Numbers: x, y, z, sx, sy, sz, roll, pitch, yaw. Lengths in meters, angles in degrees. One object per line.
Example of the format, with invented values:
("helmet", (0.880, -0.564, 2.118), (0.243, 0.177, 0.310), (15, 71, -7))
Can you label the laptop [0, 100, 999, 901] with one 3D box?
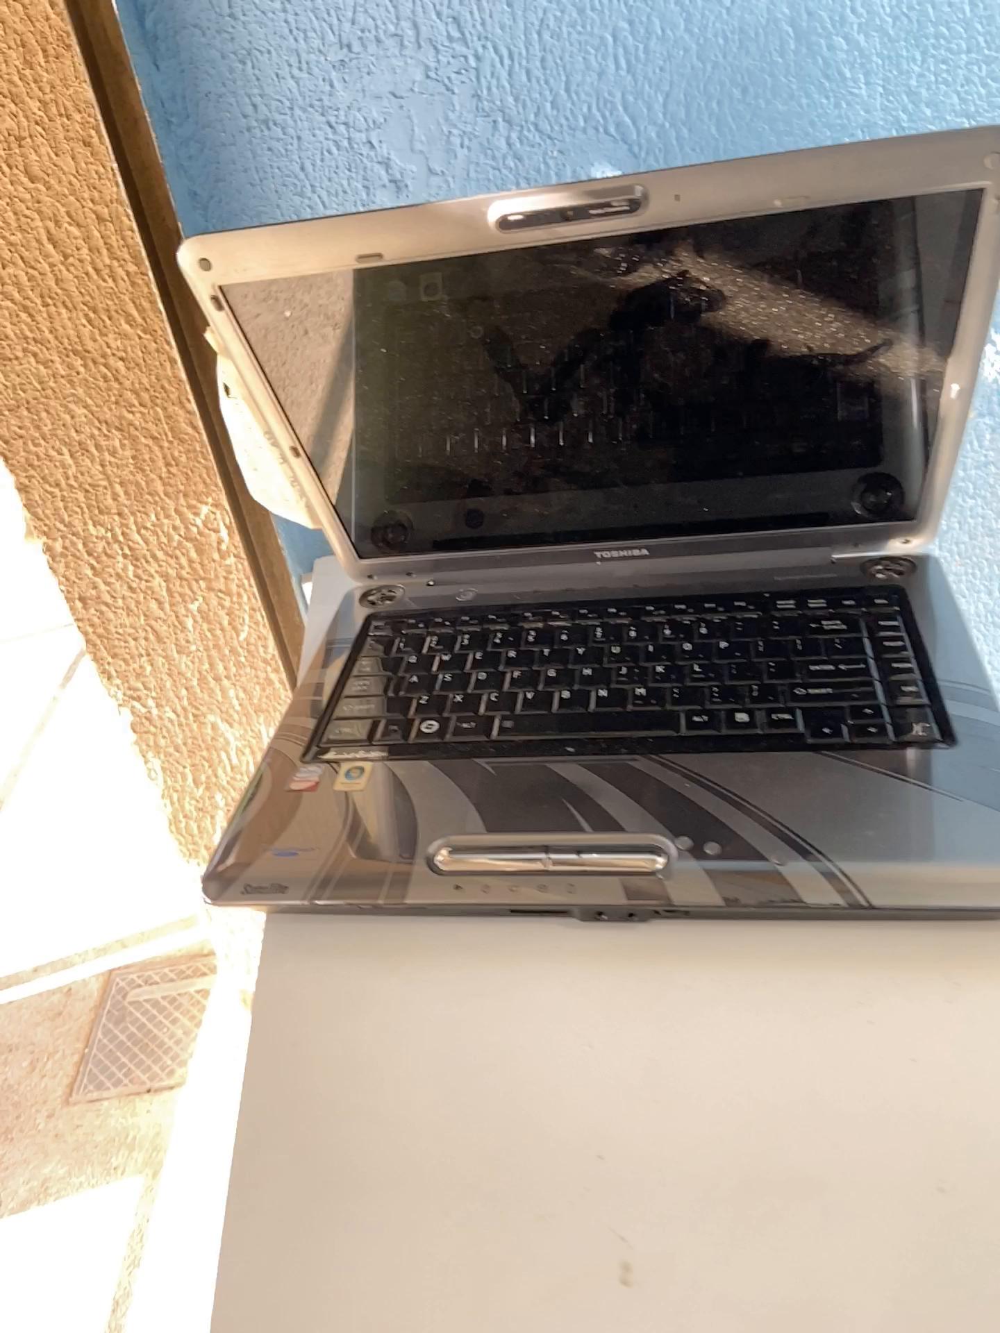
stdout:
("laptop", (0.041, -0.078, 0.462), (0.358, 0.235, 0.260), (-2, 34, 12))
